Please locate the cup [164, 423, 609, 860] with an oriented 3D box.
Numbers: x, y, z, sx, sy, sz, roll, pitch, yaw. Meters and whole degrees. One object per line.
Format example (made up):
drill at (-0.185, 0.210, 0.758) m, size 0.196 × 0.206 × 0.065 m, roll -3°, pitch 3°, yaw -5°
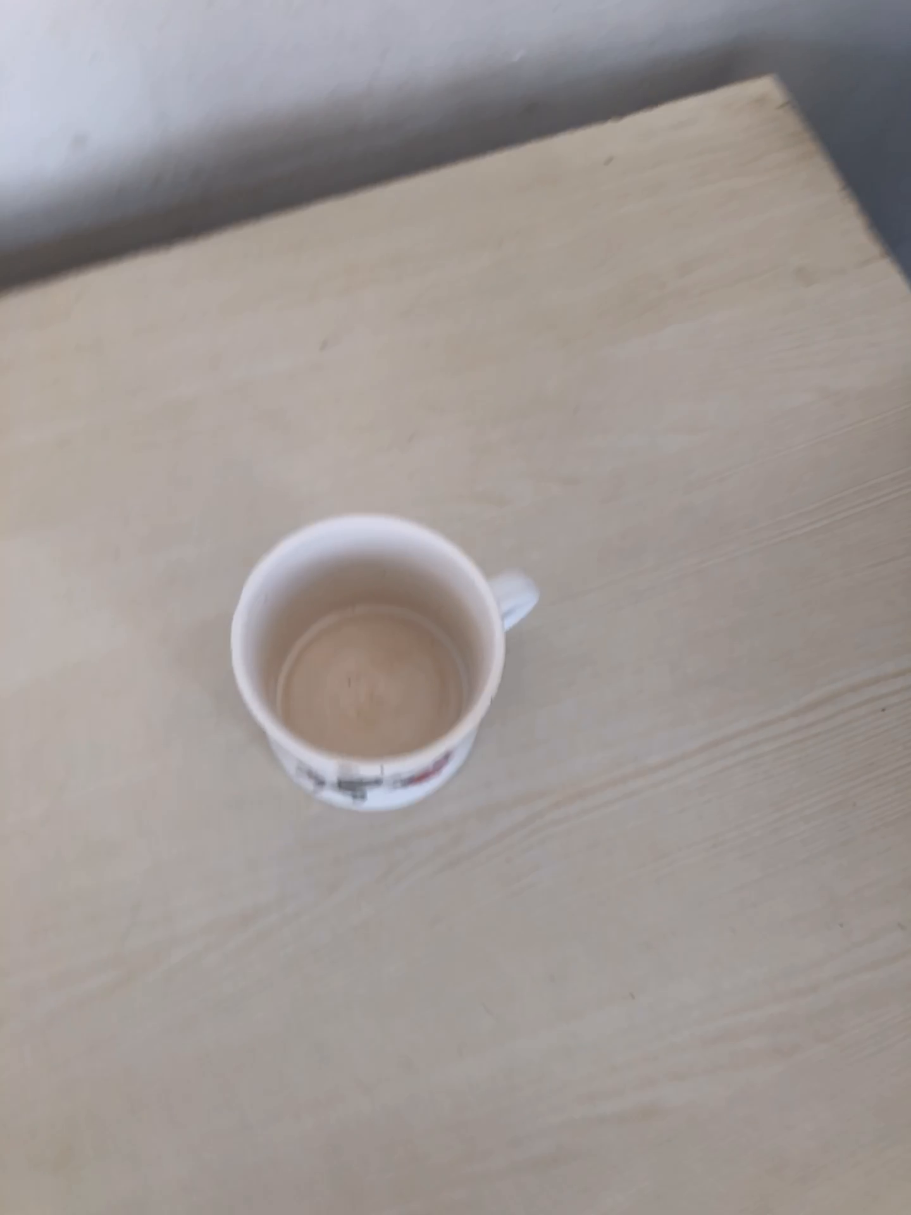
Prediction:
cup at (-0.020, 0.012, 0.297) m, size 0.090 × 0.070 × 0.080 m, roll -24°, pitch 73°, yaw -12°
